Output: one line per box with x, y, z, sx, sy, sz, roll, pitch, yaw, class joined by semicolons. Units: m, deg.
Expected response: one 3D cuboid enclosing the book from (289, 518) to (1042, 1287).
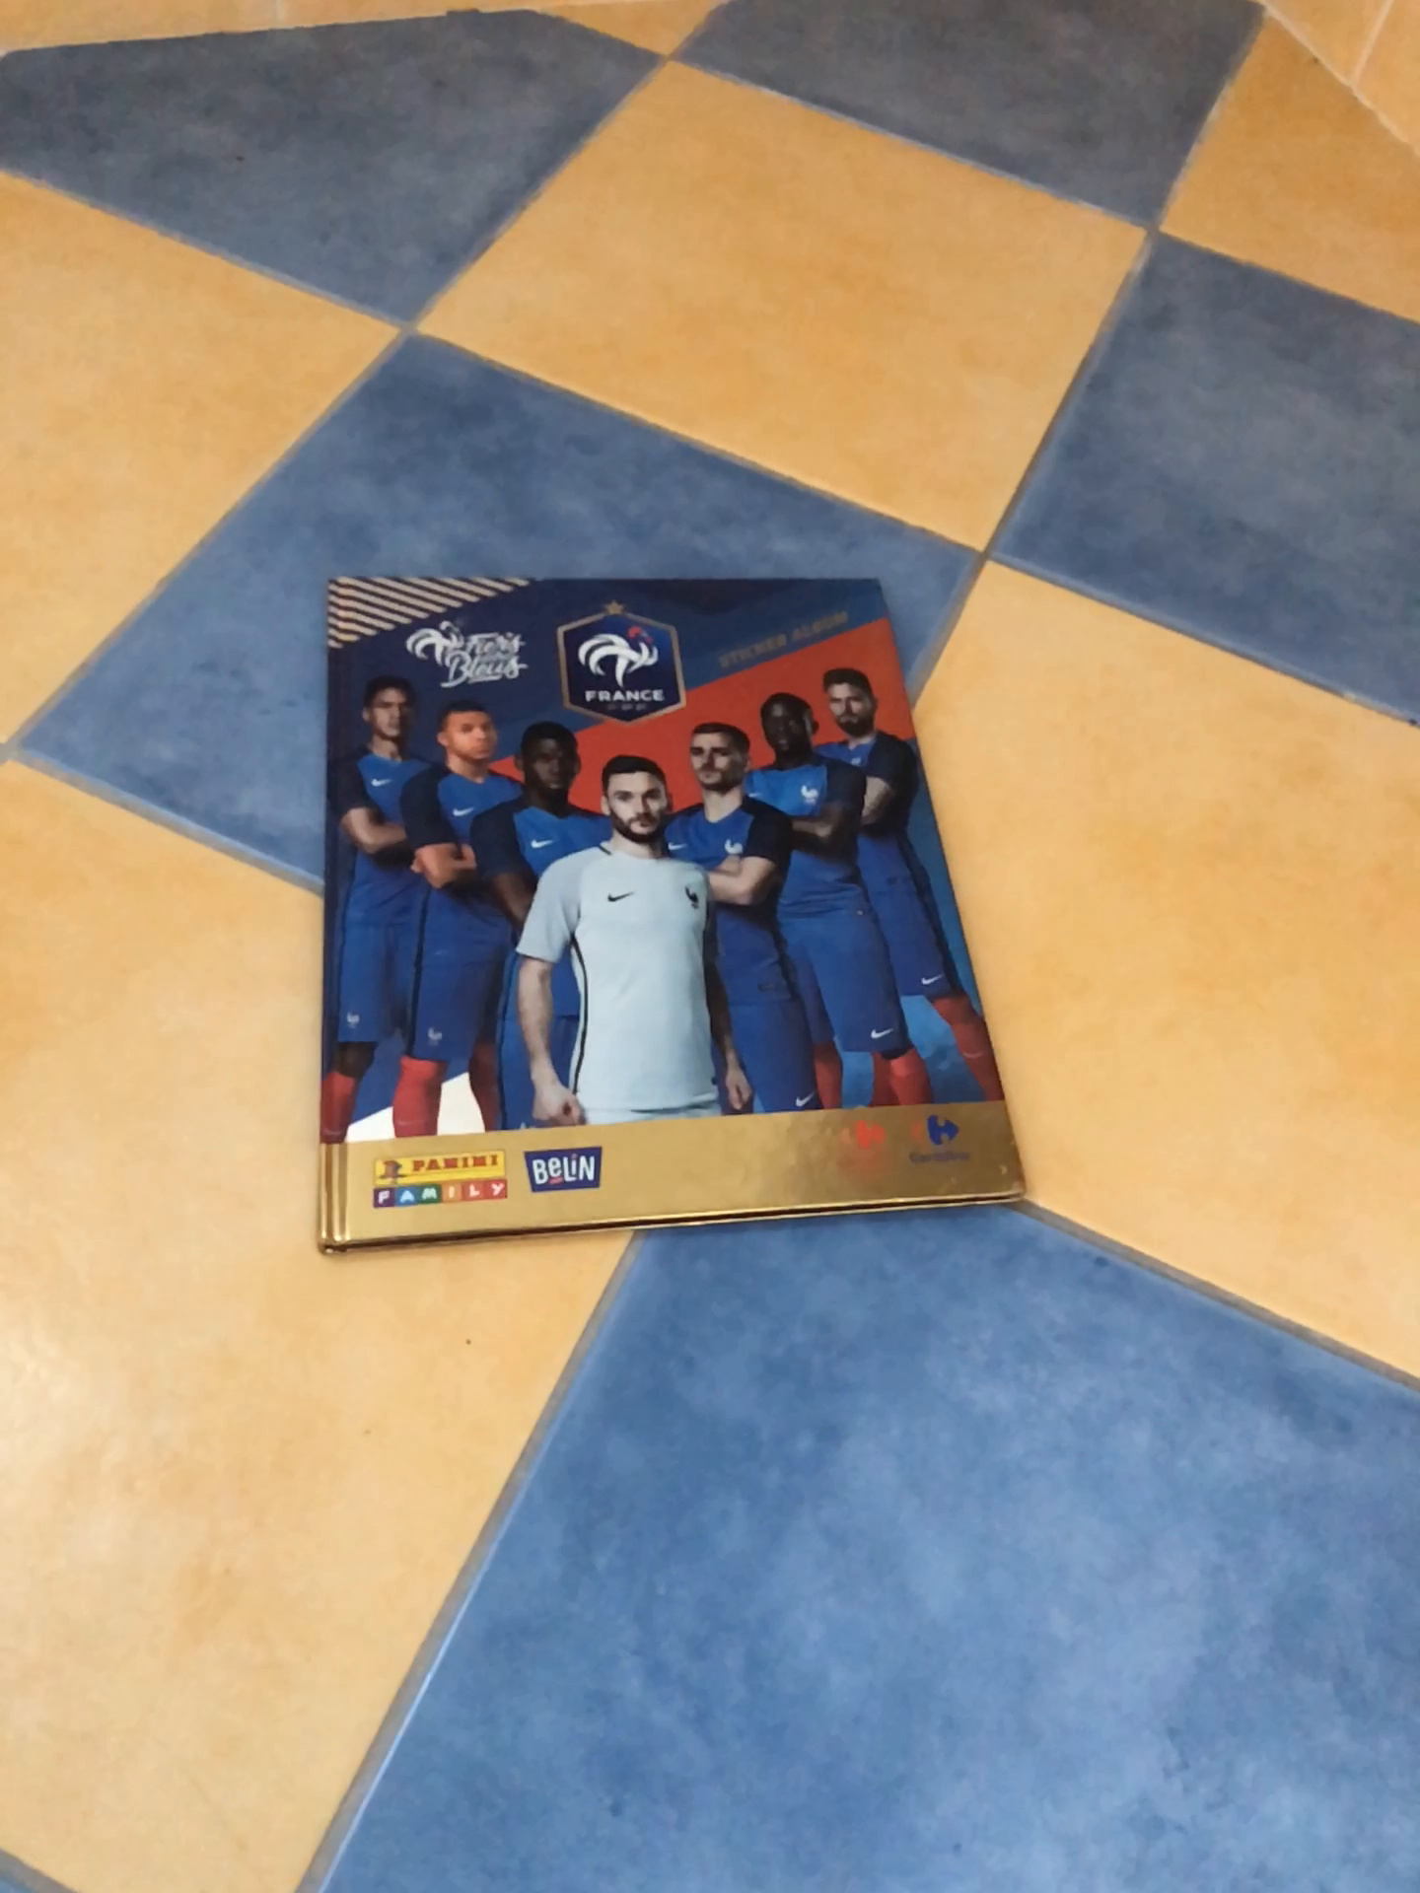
-0.030;-0.039;0.592;0.240;0.030;0.321;-2;57;-9;book
